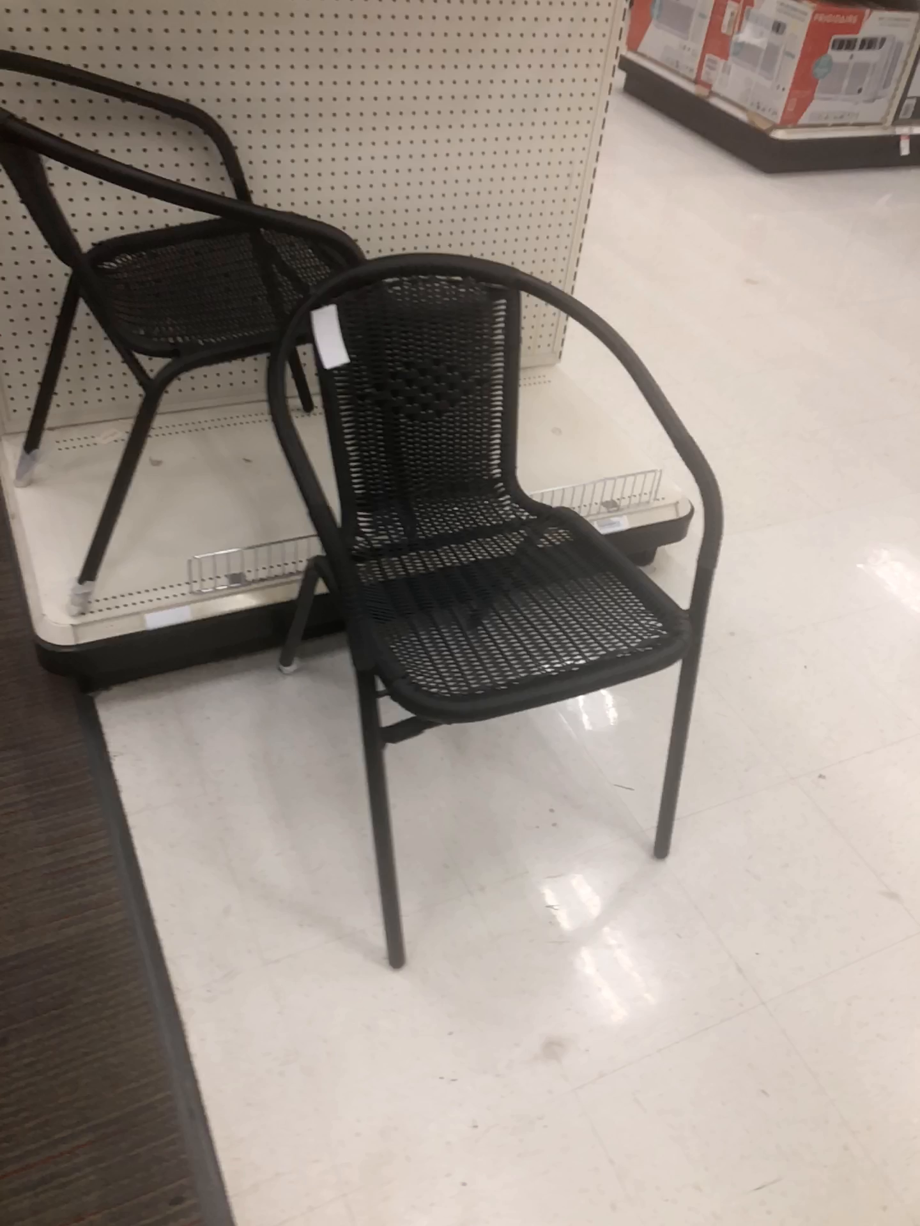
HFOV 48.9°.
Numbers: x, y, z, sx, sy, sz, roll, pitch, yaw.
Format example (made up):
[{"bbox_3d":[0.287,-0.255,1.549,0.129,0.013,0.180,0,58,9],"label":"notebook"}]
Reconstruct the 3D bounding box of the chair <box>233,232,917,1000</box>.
[{"bbox_3d":[0.053,-0.033,1.355,0.531,0.696,0.642,-11,43,-22],"label":"chair"}]
